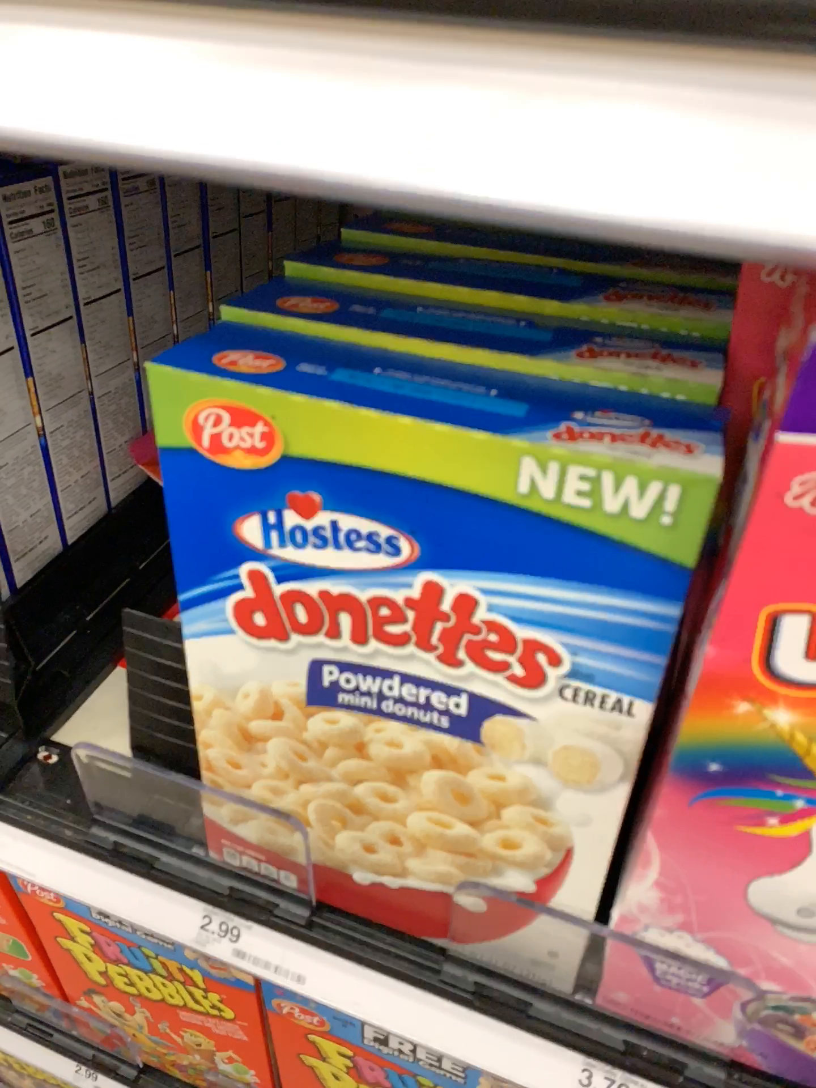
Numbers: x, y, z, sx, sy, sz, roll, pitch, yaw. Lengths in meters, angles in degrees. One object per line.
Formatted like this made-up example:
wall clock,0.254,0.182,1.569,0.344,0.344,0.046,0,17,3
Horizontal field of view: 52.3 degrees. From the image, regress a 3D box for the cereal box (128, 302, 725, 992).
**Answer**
cereal box,-0.001,0.054,0.352,0.190,0.269,0.060,14,35,15
